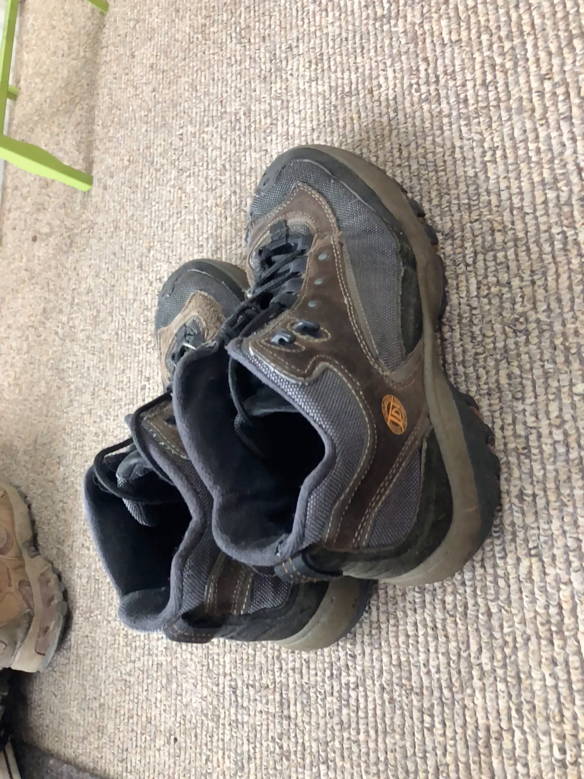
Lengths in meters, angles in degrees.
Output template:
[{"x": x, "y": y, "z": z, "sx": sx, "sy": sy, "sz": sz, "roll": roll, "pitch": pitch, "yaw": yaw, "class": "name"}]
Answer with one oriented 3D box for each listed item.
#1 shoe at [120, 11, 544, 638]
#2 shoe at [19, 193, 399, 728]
[{"x": 0.008, "y": -0.028, "z": 0.351, "sx": 0.118, "sy": 0.137, "sz": 0.280, "roll": -29, "pitch": 61, "yaw": 36, "class": "shoe"}, {"x": -0.068, "y": 0.034, "z": 0.410, "sx": 0.116, "sy": 0.135, "sz": 0.280, "roll": -40, "pitch": 54, "yaw": 30, "class": "shoe"}]
